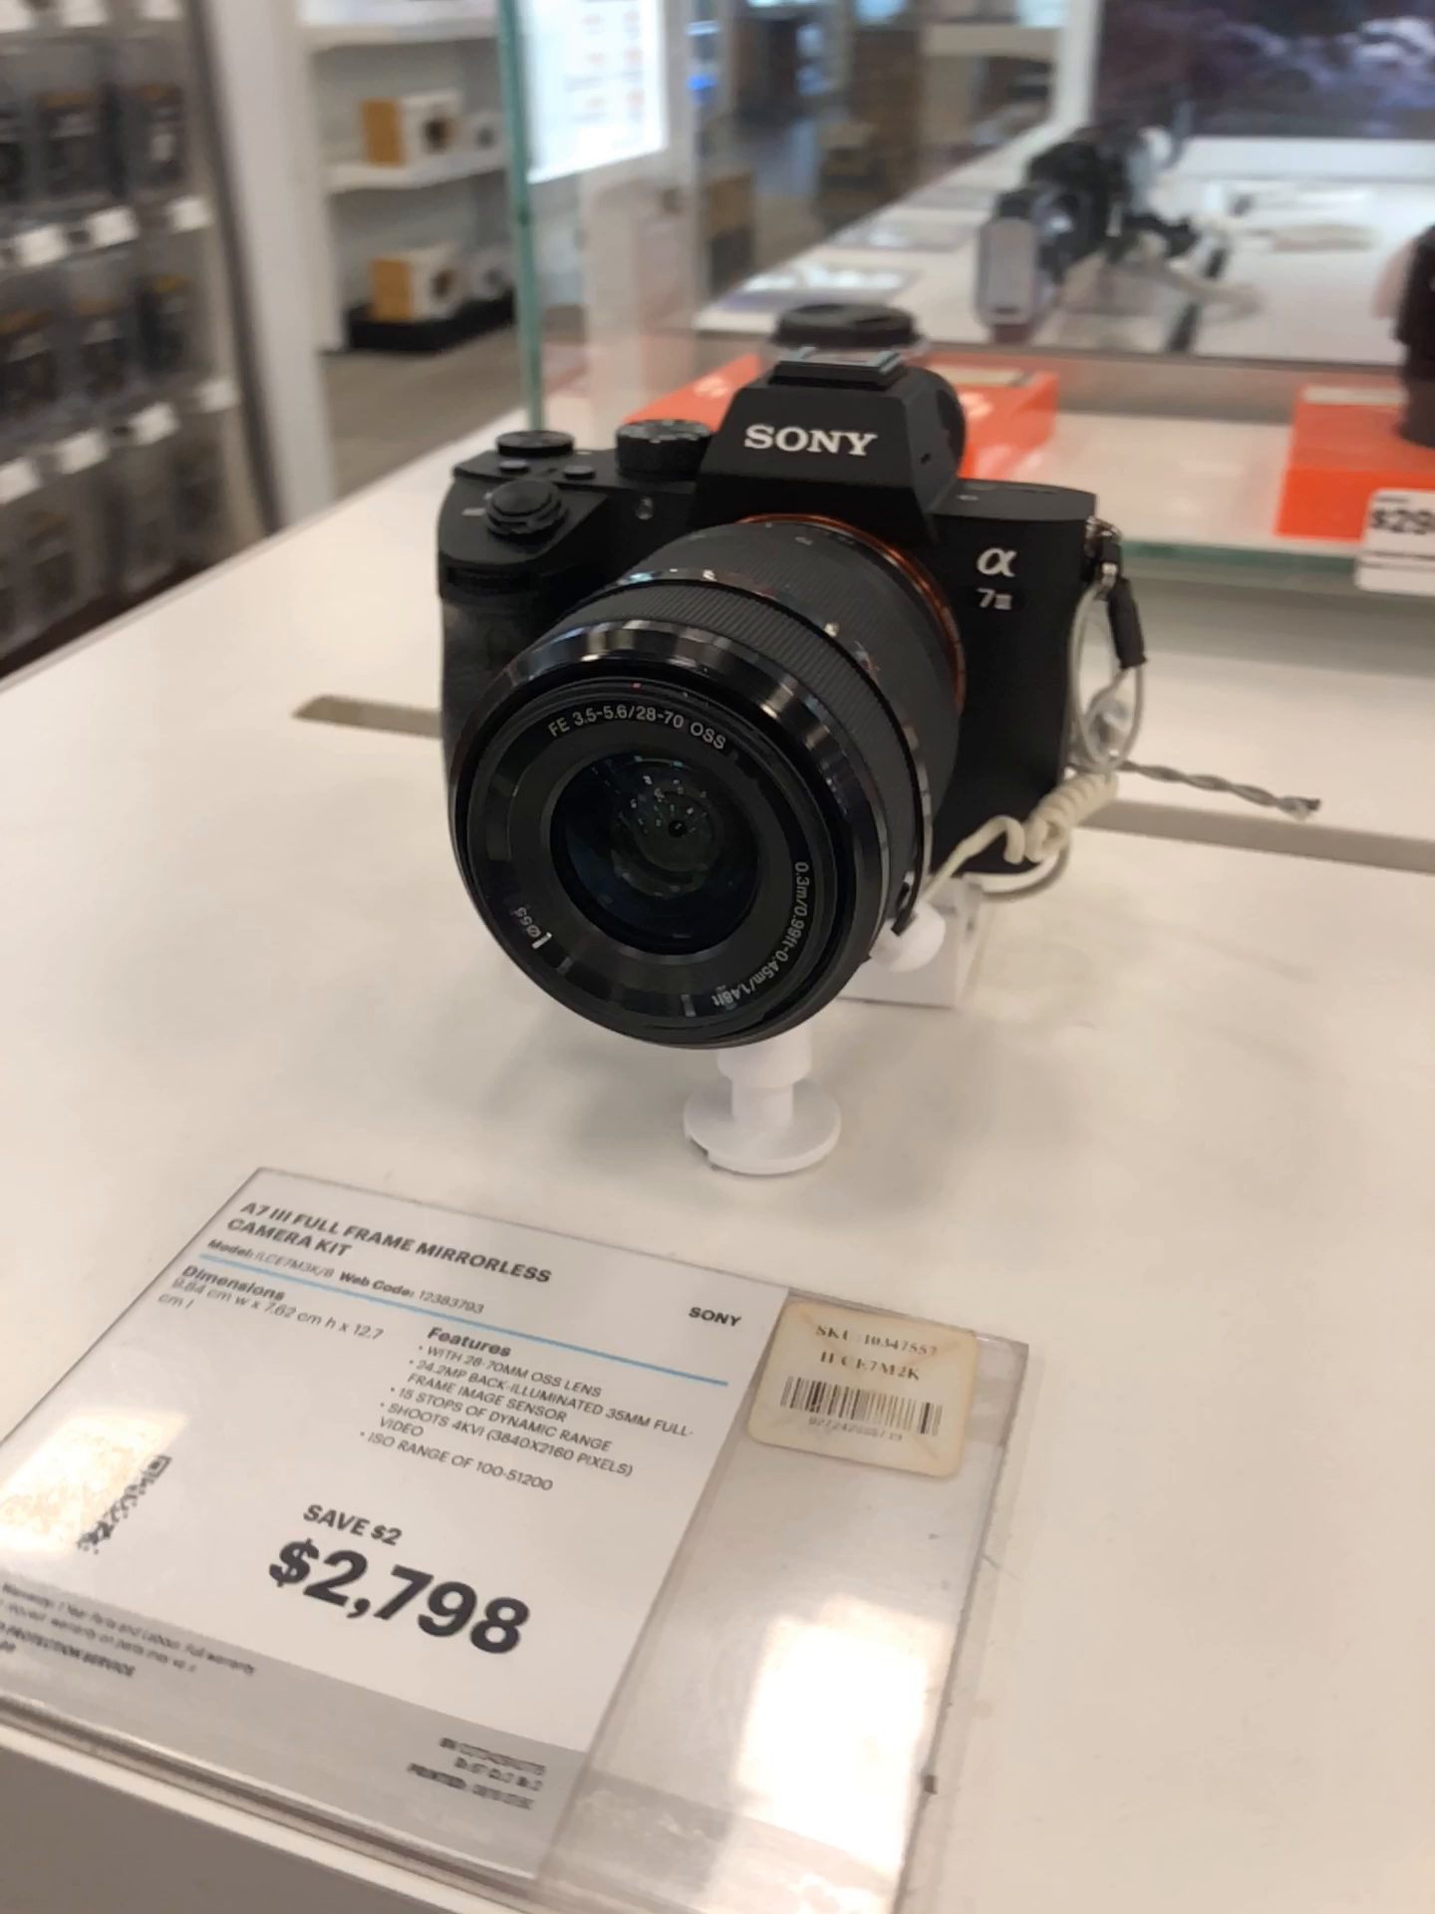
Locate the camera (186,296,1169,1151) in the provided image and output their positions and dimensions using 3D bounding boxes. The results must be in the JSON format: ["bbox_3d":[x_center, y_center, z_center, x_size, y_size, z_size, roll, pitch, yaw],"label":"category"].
[{"bbox_3d":[0.008,-0.061,0.316,0.130,0.100,0.161,9,32,17],"label":"camera"}]
